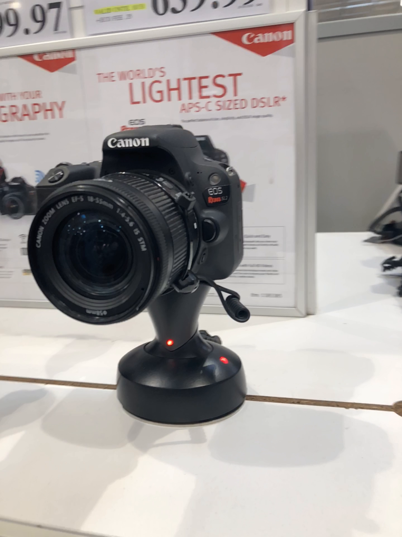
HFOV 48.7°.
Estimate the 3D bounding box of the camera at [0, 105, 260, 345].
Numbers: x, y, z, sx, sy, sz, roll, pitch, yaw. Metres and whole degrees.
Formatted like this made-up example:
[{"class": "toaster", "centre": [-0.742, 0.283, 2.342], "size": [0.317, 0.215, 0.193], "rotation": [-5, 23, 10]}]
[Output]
[{"class": "camera", "centre": [-0.044, -0.031, 0.240], "size": [0.130, 0.090, 0.120], "rotation": [2, 16, 17]}]
